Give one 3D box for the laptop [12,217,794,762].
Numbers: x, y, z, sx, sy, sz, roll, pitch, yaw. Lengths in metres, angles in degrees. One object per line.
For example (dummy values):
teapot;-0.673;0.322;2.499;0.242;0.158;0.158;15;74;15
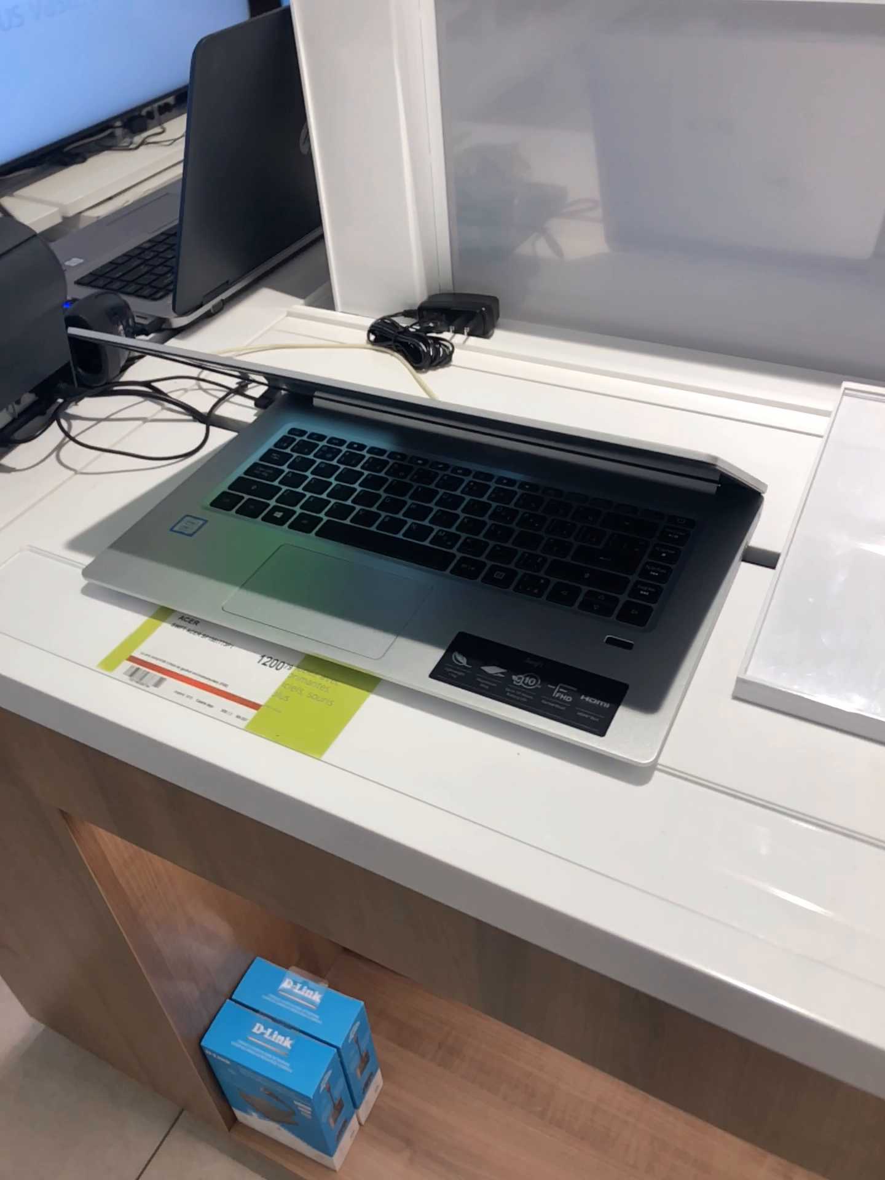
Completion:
laptop;-0.015;-0.082;0.549;0.347;0.132;0.218;16;46;22
